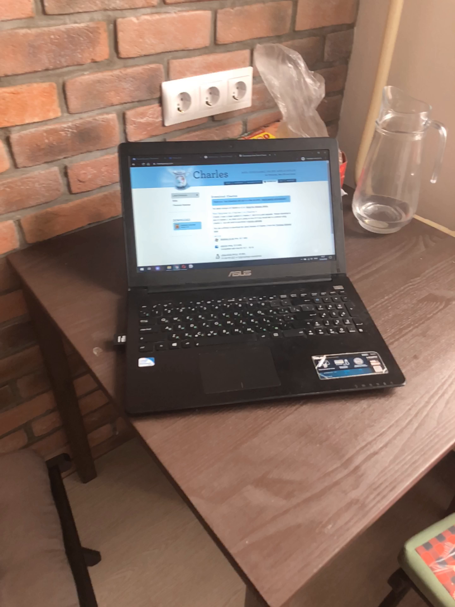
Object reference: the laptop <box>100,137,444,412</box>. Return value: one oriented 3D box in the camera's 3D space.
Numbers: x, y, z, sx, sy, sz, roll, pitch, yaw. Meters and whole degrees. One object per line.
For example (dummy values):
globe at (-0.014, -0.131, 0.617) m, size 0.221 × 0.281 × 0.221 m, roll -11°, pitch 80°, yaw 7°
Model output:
laptop at (0.028, -0.076, 0.743) m, size 0.372 × 0.186 × 0.401 m, roll -4°, pitch 39°, yaw -7°
